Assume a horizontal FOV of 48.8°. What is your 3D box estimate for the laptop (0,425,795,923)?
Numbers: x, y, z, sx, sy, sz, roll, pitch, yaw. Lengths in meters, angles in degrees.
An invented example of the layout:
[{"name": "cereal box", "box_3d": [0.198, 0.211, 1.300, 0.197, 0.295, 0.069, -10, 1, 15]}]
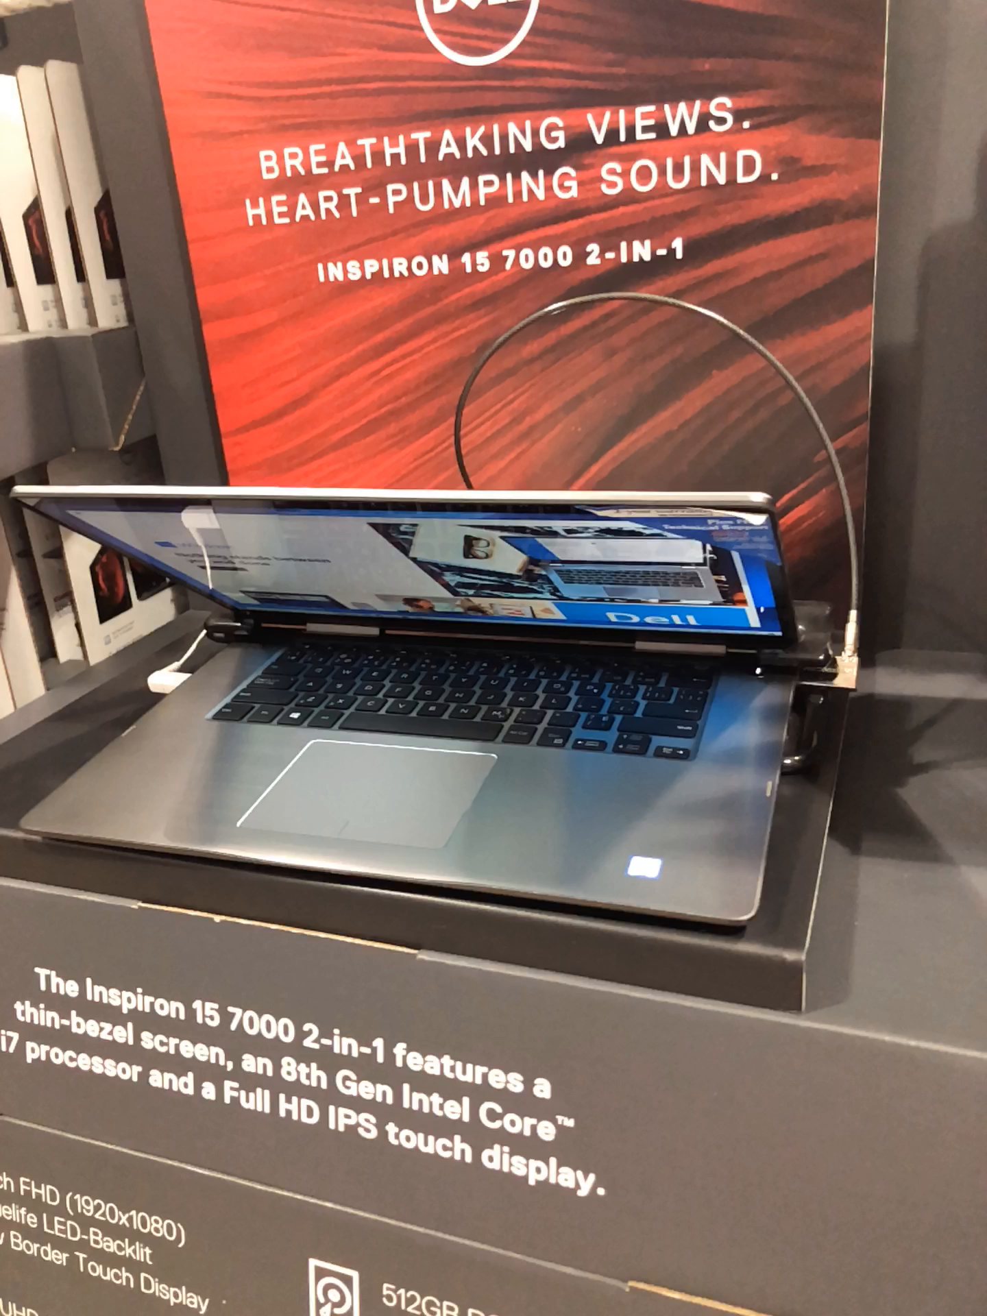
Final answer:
[{"name": "laptop", "box_3d": [-0.041, -0.018, 0.547, 0.355, 0.137, 0.212, 3, 25, 20]}]
